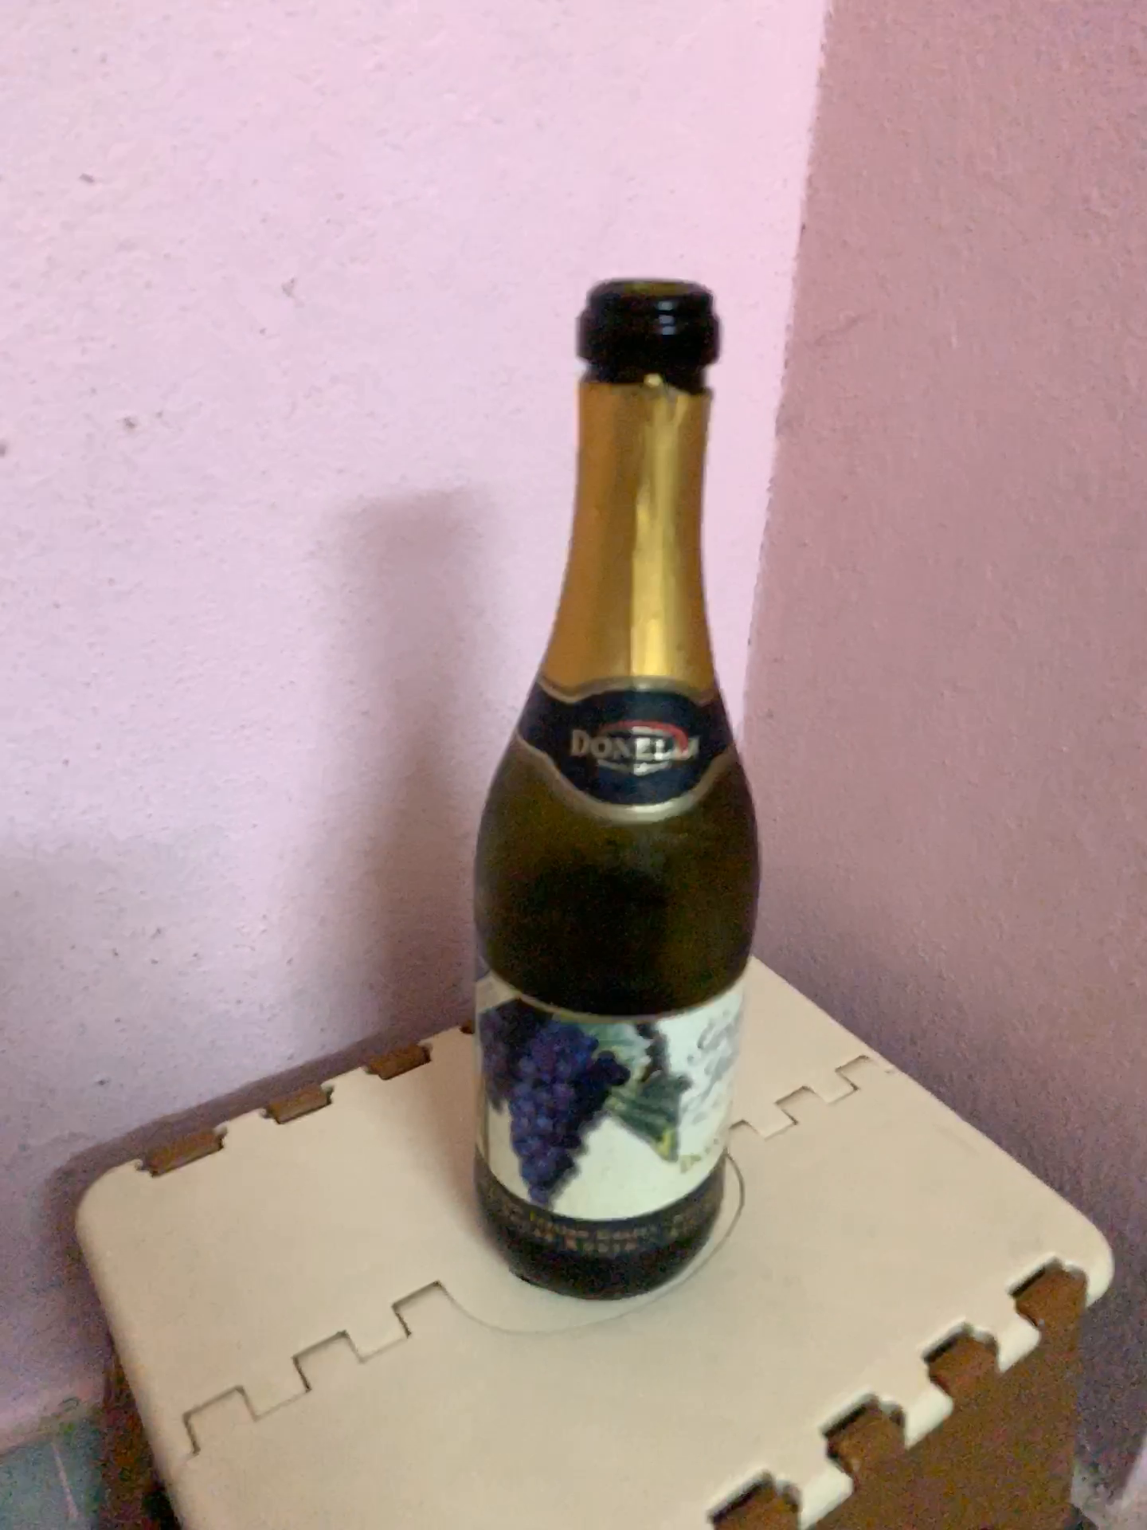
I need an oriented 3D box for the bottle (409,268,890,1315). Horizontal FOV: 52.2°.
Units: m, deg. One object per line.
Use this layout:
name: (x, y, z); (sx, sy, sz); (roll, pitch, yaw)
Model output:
bottle: (0.008, 0.023, 0.313); (0.090, 0.279, 0.070); (0, 28, -3)
